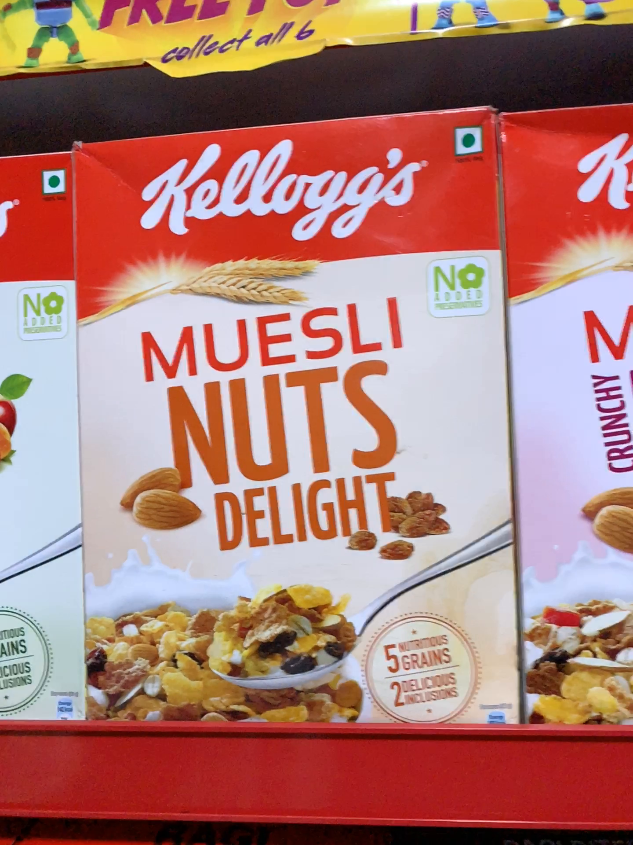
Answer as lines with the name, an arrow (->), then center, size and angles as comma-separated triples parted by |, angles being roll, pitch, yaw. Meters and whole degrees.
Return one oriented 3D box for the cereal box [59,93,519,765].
cereal box -> -0.012, 0.003, 0.283 | 0.170, 0.250, 0.060 | -2, -2, 5
